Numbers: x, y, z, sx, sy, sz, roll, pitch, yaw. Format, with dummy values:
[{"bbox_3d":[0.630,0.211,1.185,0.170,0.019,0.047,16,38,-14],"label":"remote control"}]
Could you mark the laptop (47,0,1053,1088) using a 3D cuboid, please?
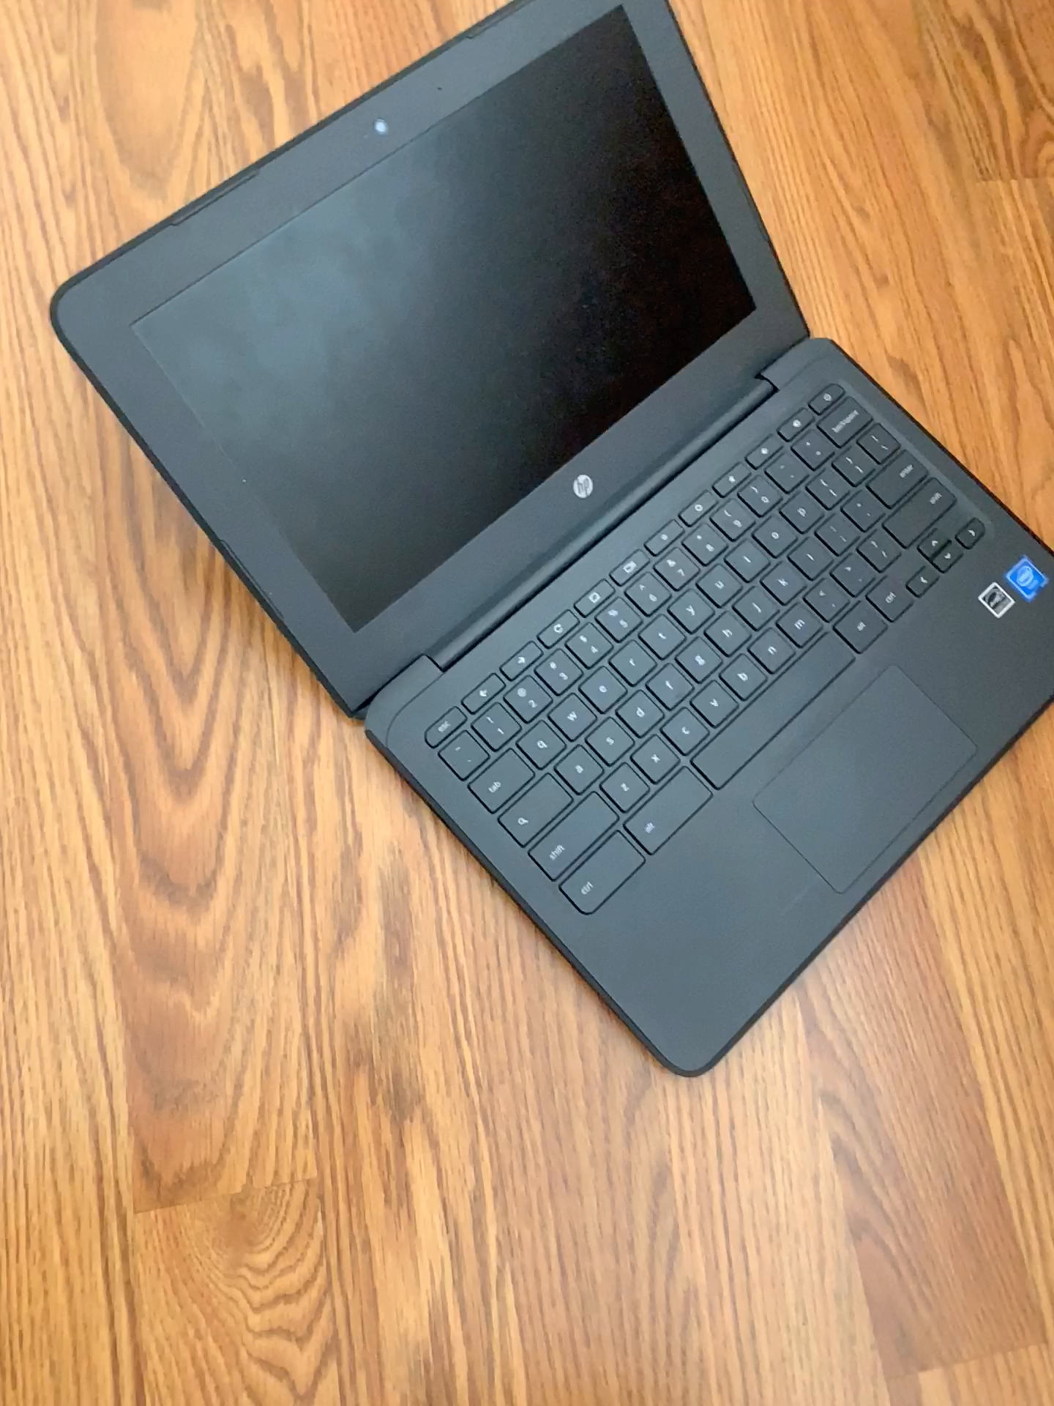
[{"bbox_3d":[0.056,-0.088,0.453,0.299,0.110,0.360,-41,82,-16],"label":"laptop"}]
